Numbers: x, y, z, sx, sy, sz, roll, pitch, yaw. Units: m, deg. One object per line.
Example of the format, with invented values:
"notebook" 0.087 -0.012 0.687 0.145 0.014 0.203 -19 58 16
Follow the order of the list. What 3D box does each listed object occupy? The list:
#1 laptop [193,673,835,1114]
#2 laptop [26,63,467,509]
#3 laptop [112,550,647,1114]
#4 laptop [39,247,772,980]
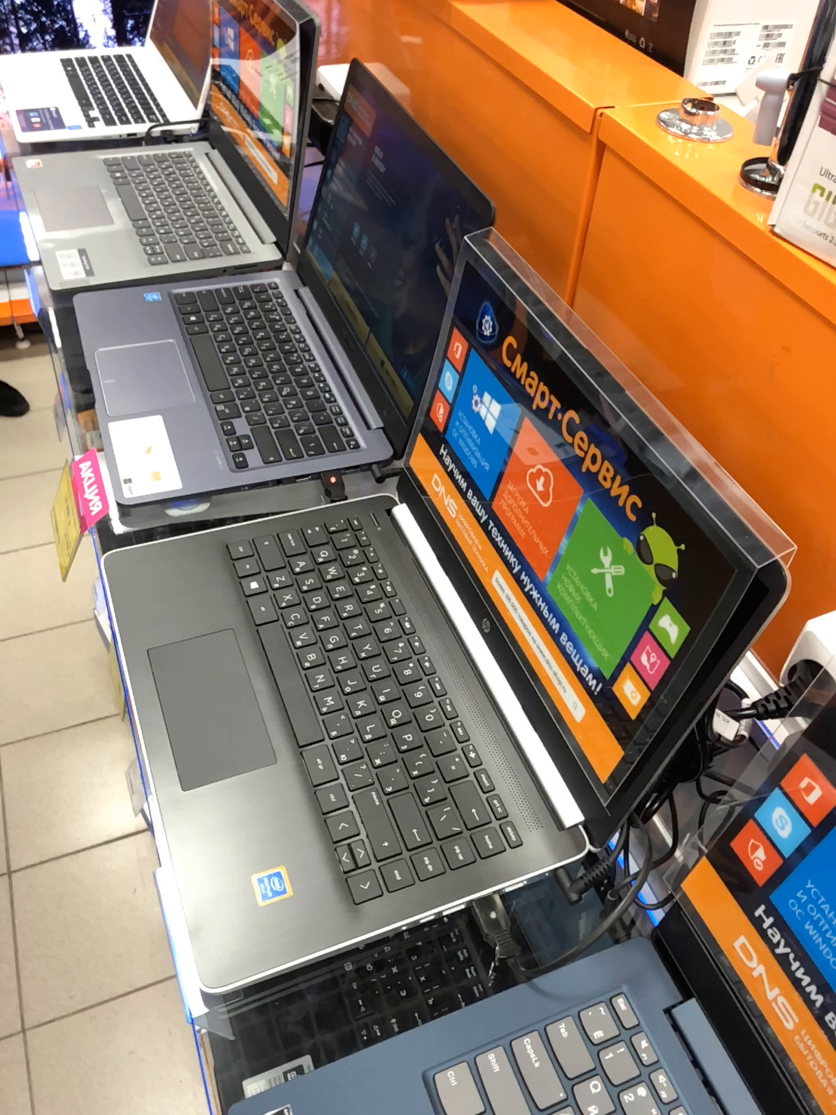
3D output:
"laptop" 0.083 0.236 0.283 0.248 0.205 0.277 -12 45 -16
"laptop" -0.148 -0.248 0.770 0.279 0.199 0.314 -13 48 -19
"laptop" -0.056 0.227 0.694 0.251 0.245 0.364 -12 46 -17
"laptop" -0.036 0.003 0.524 0.267 0.197 0.314 -14 47 -17
